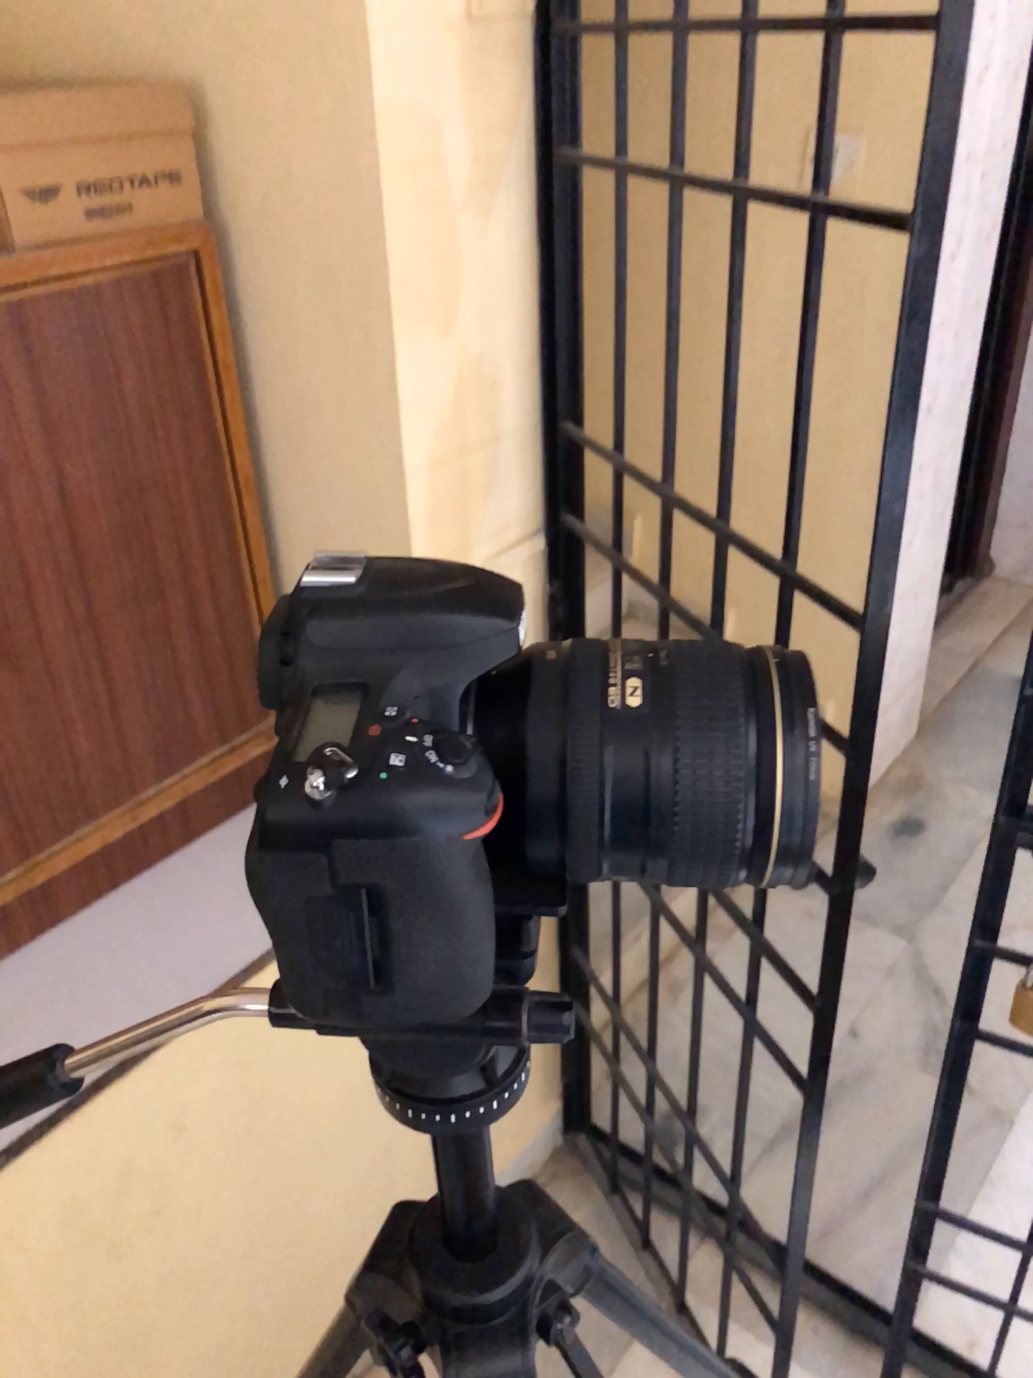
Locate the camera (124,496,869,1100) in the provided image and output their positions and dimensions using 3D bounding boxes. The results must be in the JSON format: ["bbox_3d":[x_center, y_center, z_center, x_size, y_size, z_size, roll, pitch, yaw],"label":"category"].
[{"bbox_3d":[0.002,0.020,0.360,0.171,0.105,0.171,1,30,5],"label":"camera"}]
